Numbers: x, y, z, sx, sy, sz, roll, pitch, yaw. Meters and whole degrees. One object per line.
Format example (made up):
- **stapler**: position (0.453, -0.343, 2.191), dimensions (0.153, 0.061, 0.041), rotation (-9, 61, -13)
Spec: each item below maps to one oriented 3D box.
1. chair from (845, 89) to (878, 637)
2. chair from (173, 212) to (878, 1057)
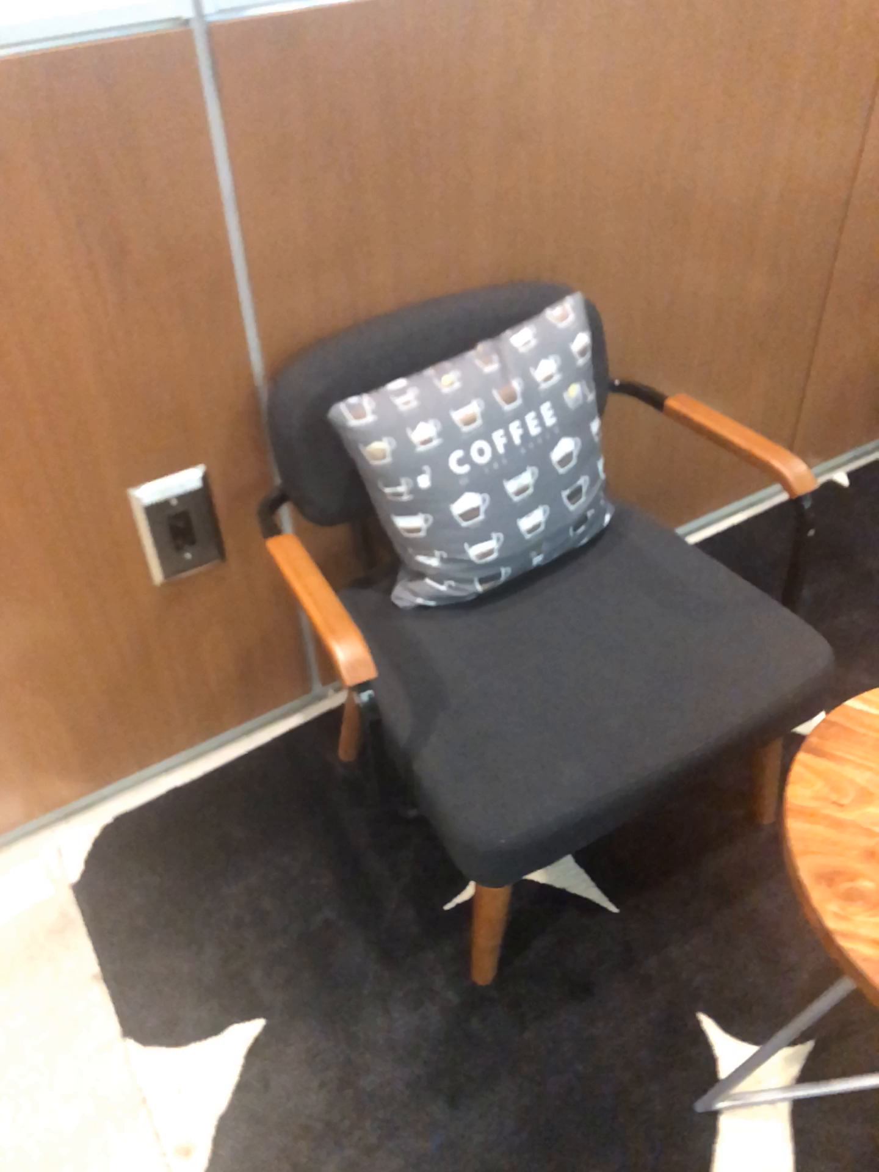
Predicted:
- **chair**: position (1.384, -0.482, 1.937), dimensions (0.683, 0.714, 0.683), rotation (-22, 41, -20)
- **chair**: position (0.166, 0.016, 1.298), dimensions (0.733, 0.714, 0.573), rotation (-22, 41, -20)
